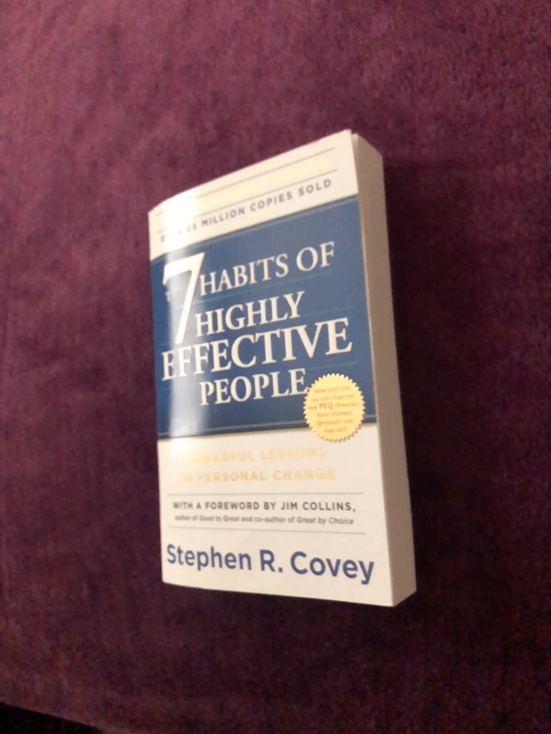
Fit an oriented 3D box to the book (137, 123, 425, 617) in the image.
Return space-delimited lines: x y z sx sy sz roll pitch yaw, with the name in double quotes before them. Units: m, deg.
"book" -0.007 0.006 0.322 0.147 0.028 0.217 -8 82 34
